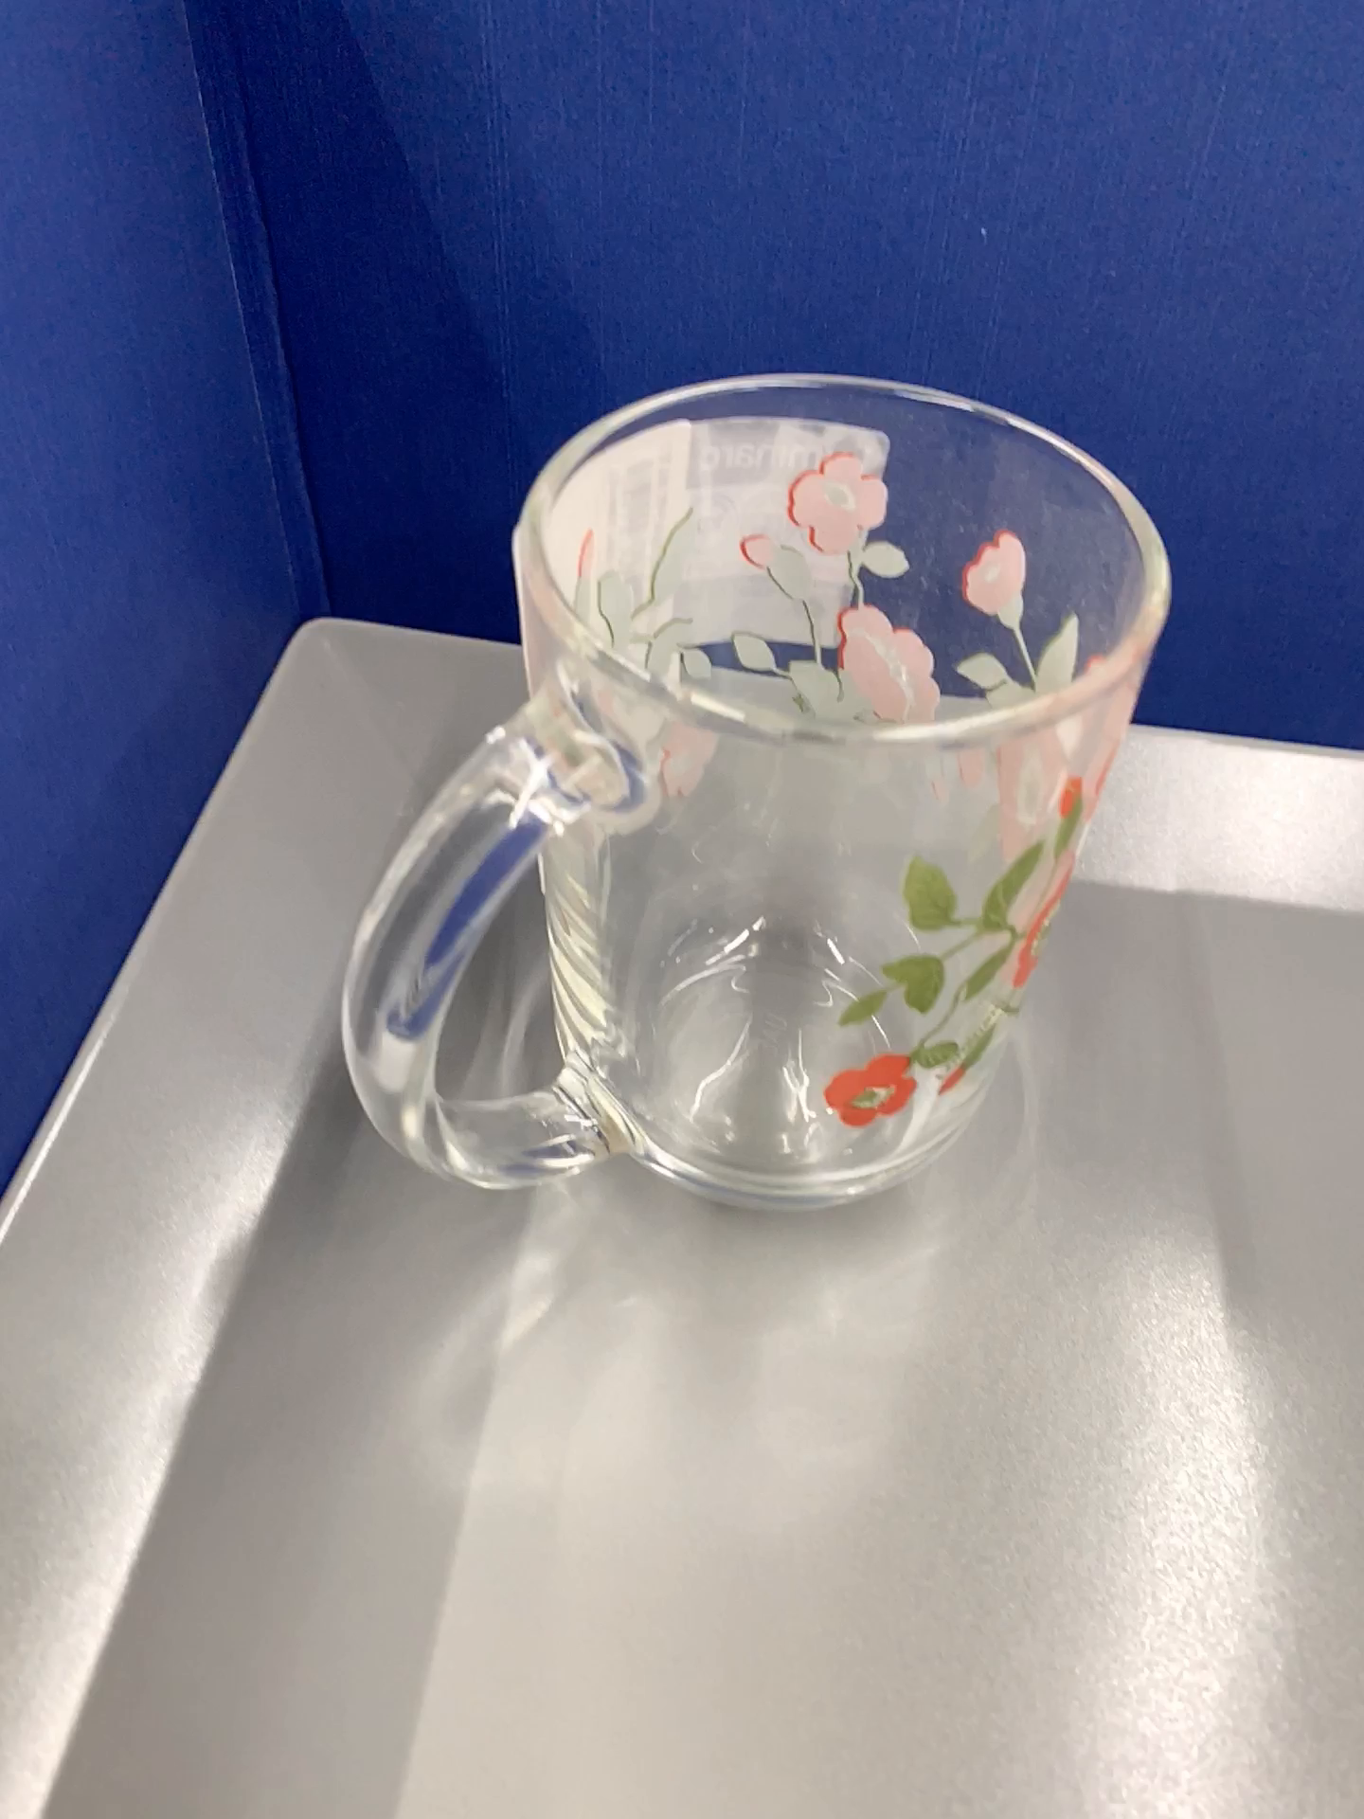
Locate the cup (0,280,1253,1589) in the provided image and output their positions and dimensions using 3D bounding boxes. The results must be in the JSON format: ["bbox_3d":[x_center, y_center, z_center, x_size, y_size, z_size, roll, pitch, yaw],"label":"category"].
[{"bbox_3d":[-0.007,-0.003,0.190,0.088,0.104,0.115,35,53,28],"label":"cup"}]
